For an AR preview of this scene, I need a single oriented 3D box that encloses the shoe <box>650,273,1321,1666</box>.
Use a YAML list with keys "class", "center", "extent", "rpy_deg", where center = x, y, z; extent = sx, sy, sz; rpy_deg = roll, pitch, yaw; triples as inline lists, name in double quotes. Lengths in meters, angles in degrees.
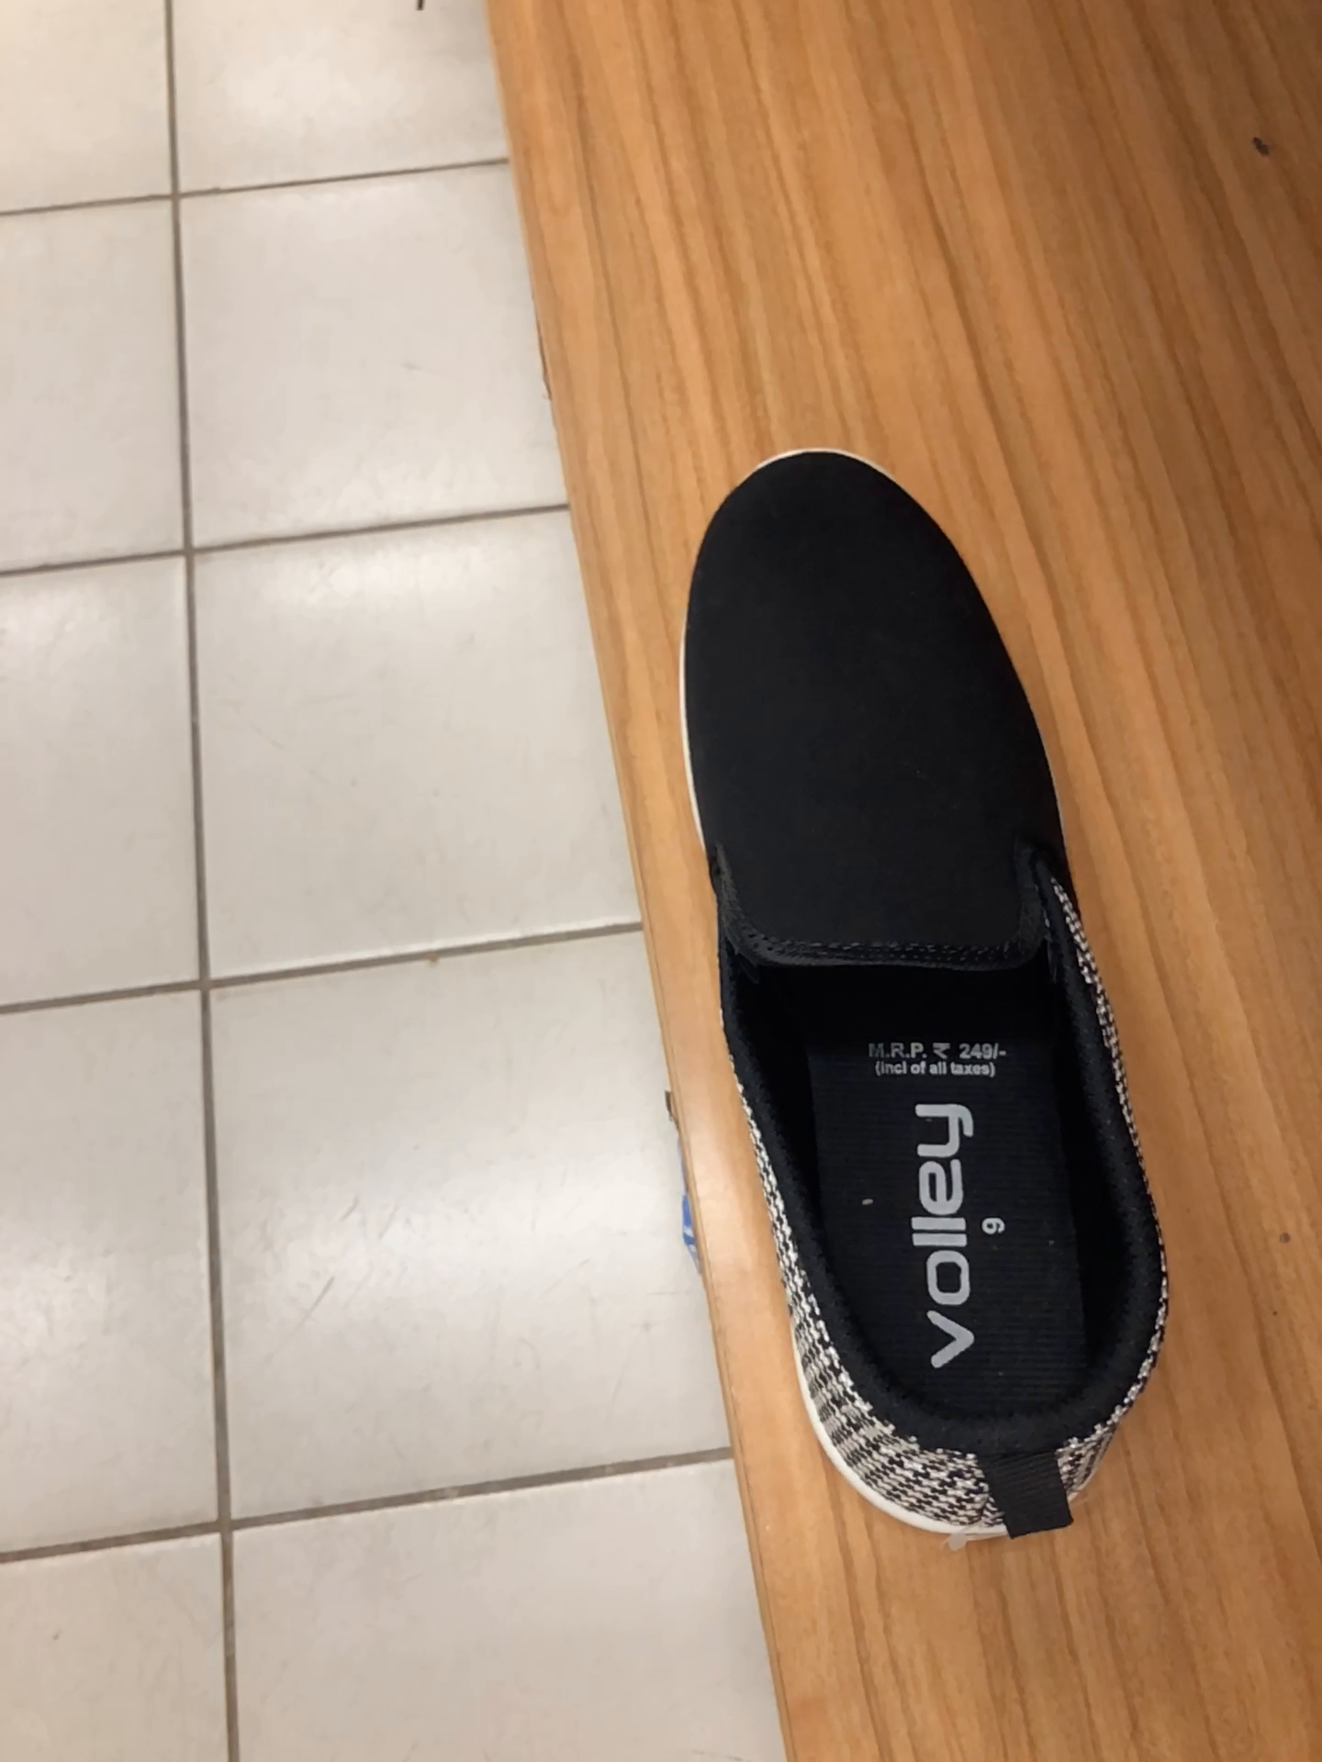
- class: "shoe"
  center: [0.064, 0.010, 0.349]
  extent: [0.100, 0.090, 0.291]
  rpy_deg: [-6, 71, -2]
